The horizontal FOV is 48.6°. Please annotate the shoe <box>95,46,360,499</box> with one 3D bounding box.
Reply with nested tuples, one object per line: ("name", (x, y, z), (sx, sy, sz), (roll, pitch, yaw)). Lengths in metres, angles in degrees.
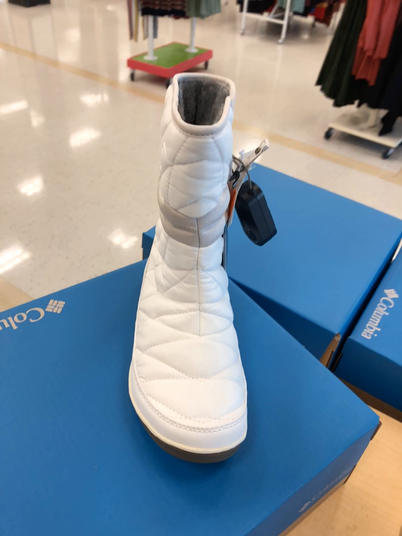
("shoe", (-0.009, -0.011, 0.345), (0.104, 0.228, 0.262), (-1, 40, -7))
